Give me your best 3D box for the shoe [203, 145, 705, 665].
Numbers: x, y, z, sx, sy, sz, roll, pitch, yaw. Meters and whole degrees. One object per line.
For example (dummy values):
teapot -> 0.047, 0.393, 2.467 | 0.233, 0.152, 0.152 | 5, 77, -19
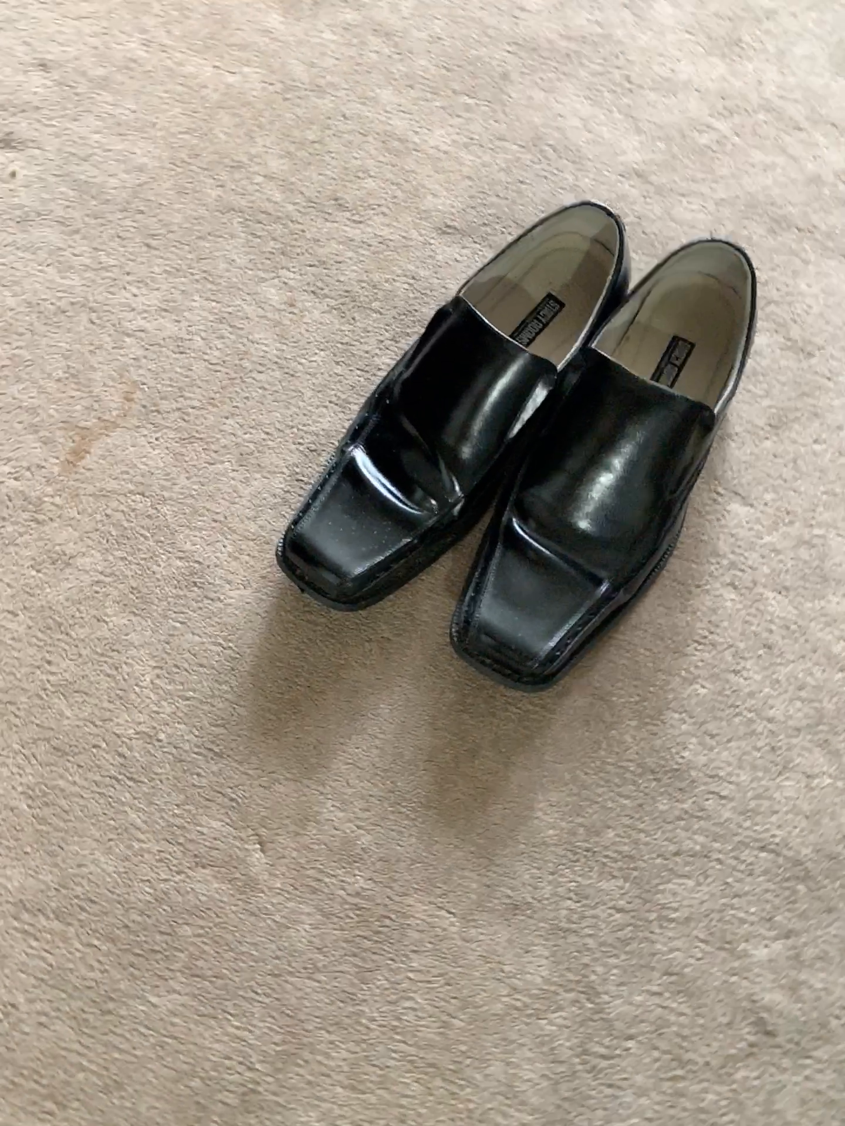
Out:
shoe -> 0.026, -0.099, 0.562 | 0.110, 0.120, 0.321 | 40, 77, 11

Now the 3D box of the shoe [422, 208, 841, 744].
shoe -> 0.128, -0.053, 0.557 | 0.110, 0.120, 0.311 | 30, 75, 9
